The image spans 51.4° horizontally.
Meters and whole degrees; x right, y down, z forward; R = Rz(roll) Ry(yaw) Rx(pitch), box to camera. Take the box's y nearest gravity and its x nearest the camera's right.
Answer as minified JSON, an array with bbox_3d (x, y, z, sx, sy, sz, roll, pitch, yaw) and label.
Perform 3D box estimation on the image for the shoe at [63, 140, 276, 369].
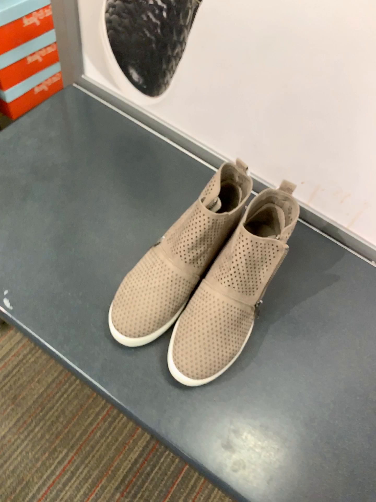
[{"bbox_3d":[-0.016,0.001,0.493,0.100,0.140,0.251,37,61,13],"label":"shoe"}]

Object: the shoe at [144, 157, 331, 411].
[{"bbox_3d":[0.058,0.035,0.464,0.100,0.140,0.251,27,59,8],"label":"shoe"}]
